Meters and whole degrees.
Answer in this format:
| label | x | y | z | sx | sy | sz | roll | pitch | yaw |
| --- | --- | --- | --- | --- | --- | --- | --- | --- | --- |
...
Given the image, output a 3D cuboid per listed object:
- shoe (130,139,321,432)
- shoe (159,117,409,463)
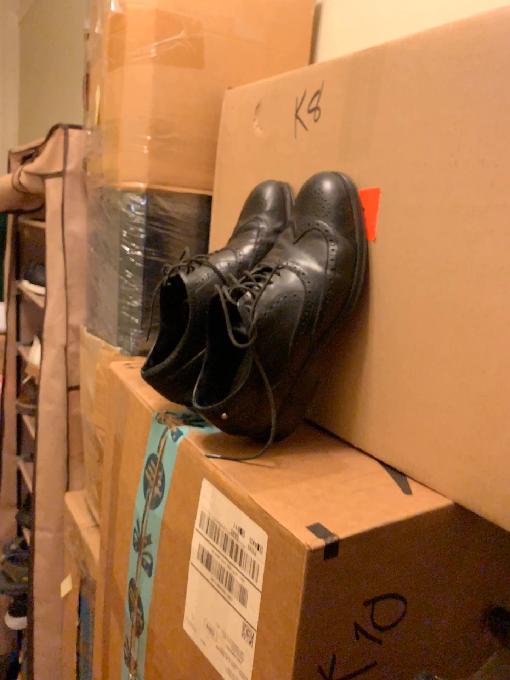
| label | x | y | z | sx | sy | sz | roll | pitch | yaw |
| --- | --- | --- | --- | --- | --- | --- | --- | --- | --- |
| shoe | -0.032 | -0.055 | 0.585 | 0.100 | 0.281 | 0.120 | 18 | -9 | -38 |
| shoe | 0.021 | -0.045 | 0.498 | 0.100 | 0.280 | 0.120 | 16 | 4 | -37 |
